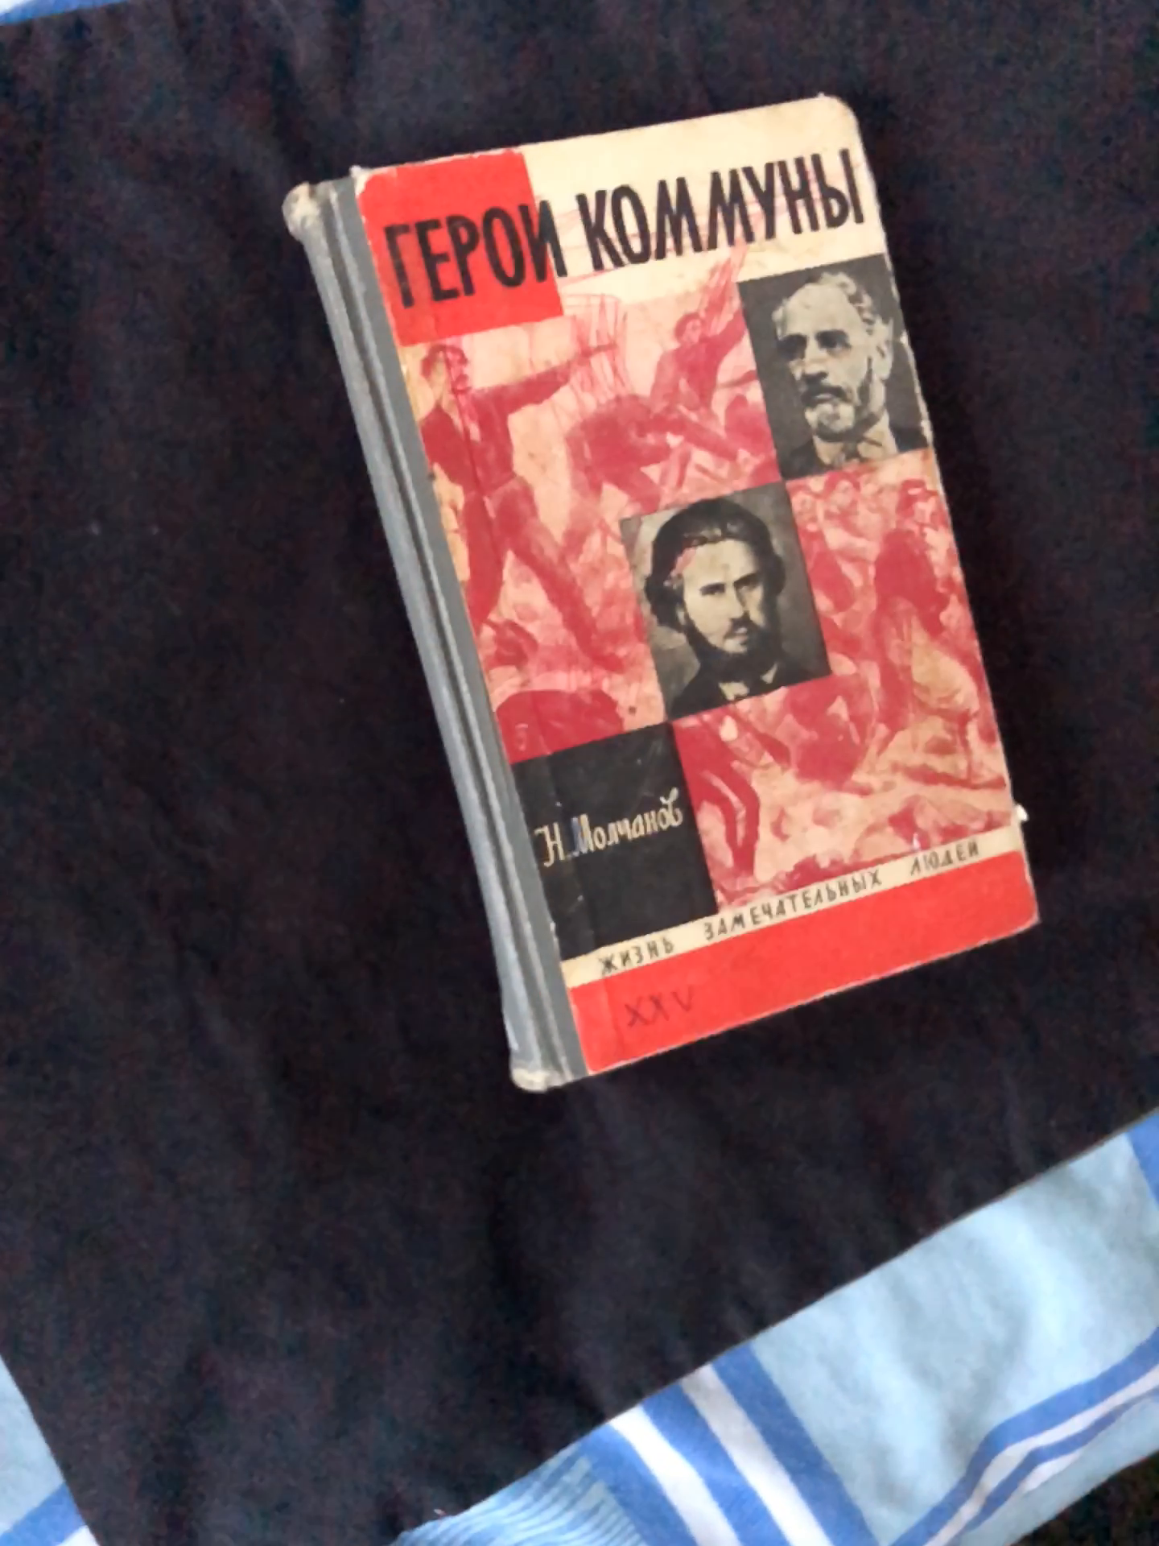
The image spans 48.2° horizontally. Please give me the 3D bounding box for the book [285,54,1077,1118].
[{"bbox_3d":[0.022,-0.042,0.305,0.128,0.060,0.200,-16,96,-12],"label":"book"}]
